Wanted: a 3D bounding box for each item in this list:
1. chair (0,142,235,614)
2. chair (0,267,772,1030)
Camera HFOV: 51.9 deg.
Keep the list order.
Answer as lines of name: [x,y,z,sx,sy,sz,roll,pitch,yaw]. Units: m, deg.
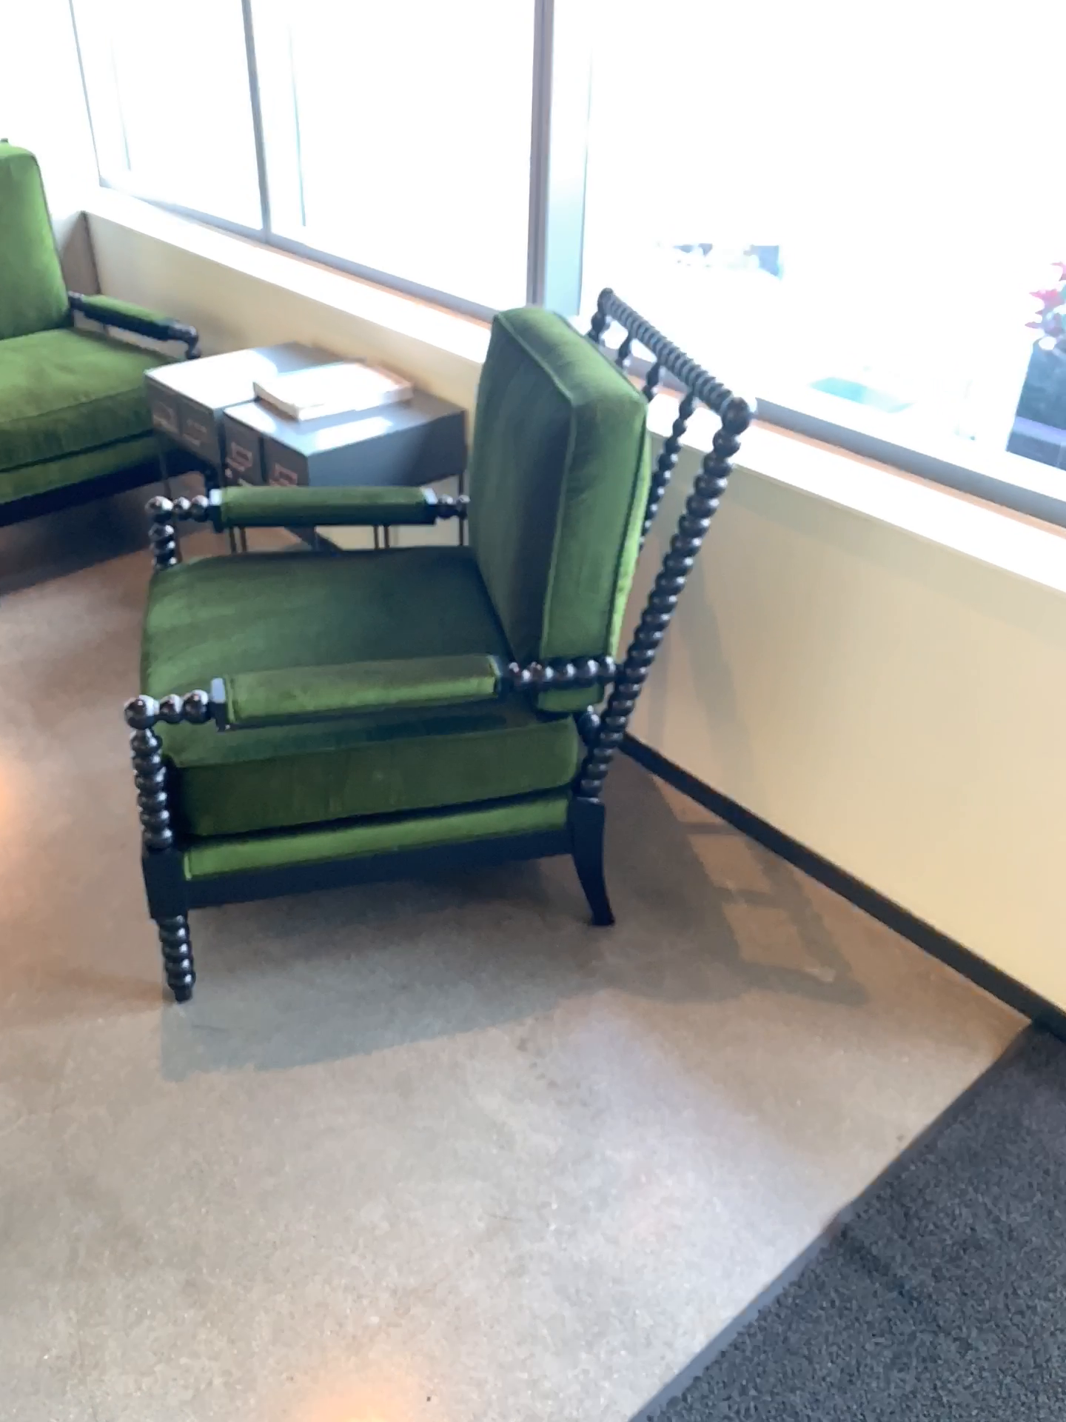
chair: [-1.504,-0.977,3.033,0.914,0.924,0.842,28,42,33]
chair: [-0.266,-0.176,1.906,0.940,0.924,0.876,-6,35,-12]
